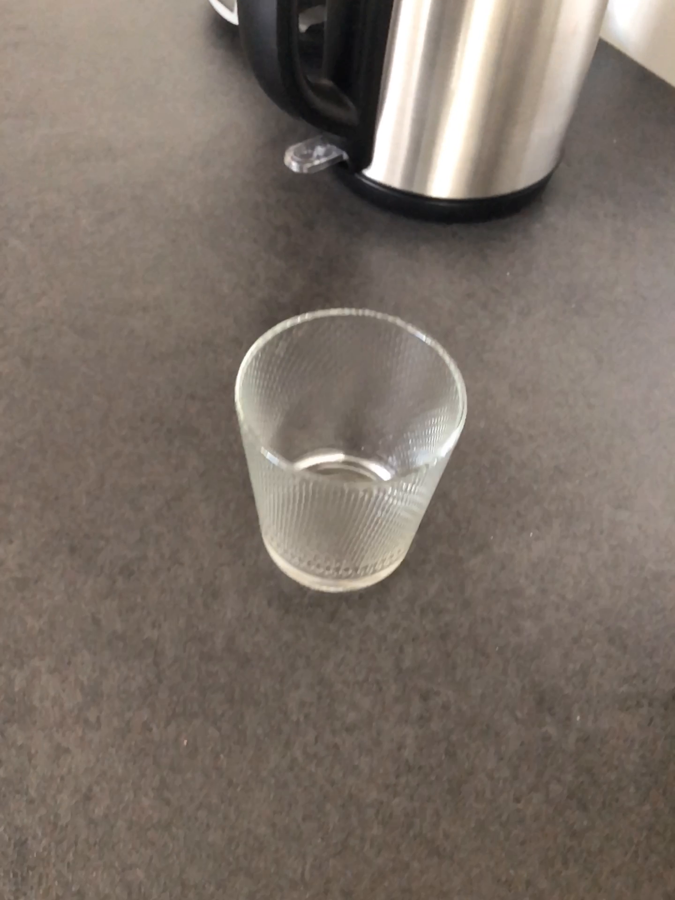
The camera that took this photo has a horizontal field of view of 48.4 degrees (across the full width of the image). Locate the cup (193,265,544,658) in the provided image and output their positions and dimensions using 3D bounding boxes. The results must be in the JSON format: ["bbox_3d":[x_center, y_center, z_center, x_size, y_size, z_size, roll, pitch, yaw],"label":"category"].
[{"bbox_3d":[0.009,0.005,0.275,0.080,0.089,0.080,2,53,-3],"label":"cup"}]
